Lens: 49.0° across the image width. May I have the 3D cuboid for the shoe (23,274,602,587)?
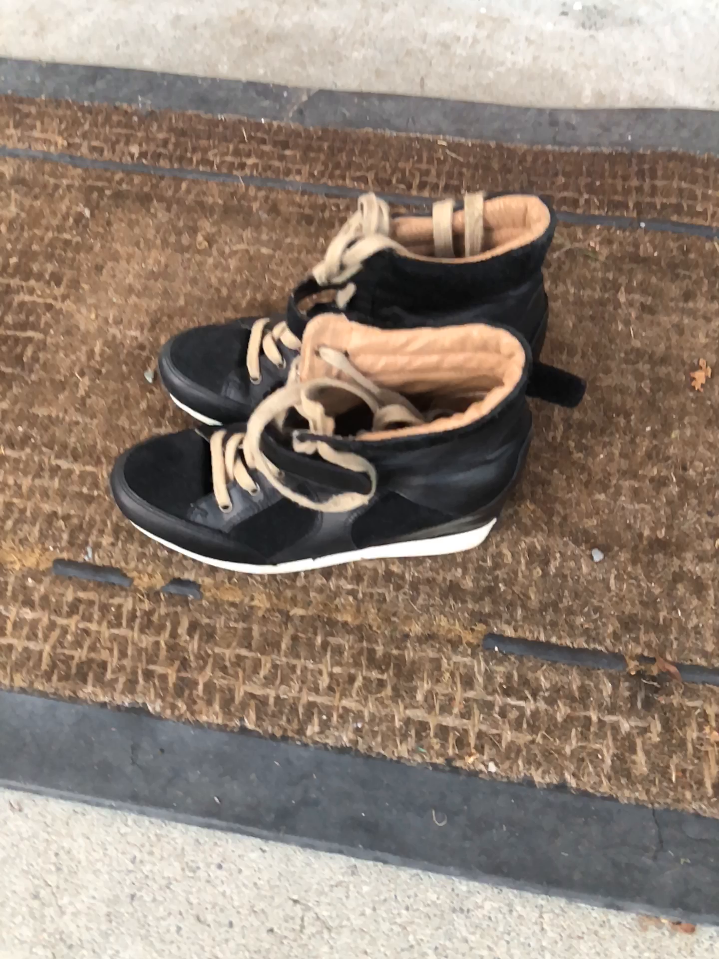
[{"bbox_3d":[-0.017,-0.018,0.418,0.240,0.159,0.090,1,61,3],"label":"shoe"}]

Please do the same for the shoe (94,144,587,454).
[{"bbox_3d":[-0.006,-0.096,0.459,0.230,0.159,0.090,1,61,3],"label":"shoe"}]
